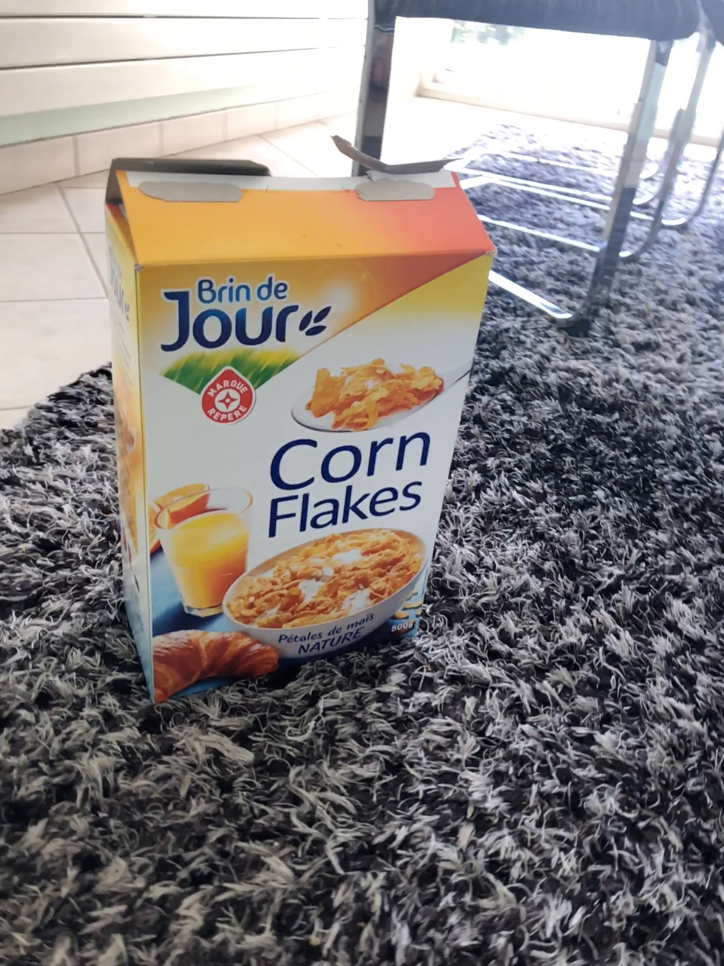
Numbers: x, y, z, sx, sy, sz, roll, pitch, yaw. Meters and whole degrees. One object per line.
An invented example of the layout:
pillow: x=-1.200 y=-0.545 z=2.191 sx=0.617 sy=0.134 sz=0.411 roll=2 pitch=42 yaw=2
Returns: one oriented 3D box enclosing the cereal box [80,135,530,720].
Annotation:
cereal box: x=-0.045 y=-0.028 z=0.474 sx=0.201 sy=0.308 sz=0.100 roll=-9 pitch=35 yaw=-25
